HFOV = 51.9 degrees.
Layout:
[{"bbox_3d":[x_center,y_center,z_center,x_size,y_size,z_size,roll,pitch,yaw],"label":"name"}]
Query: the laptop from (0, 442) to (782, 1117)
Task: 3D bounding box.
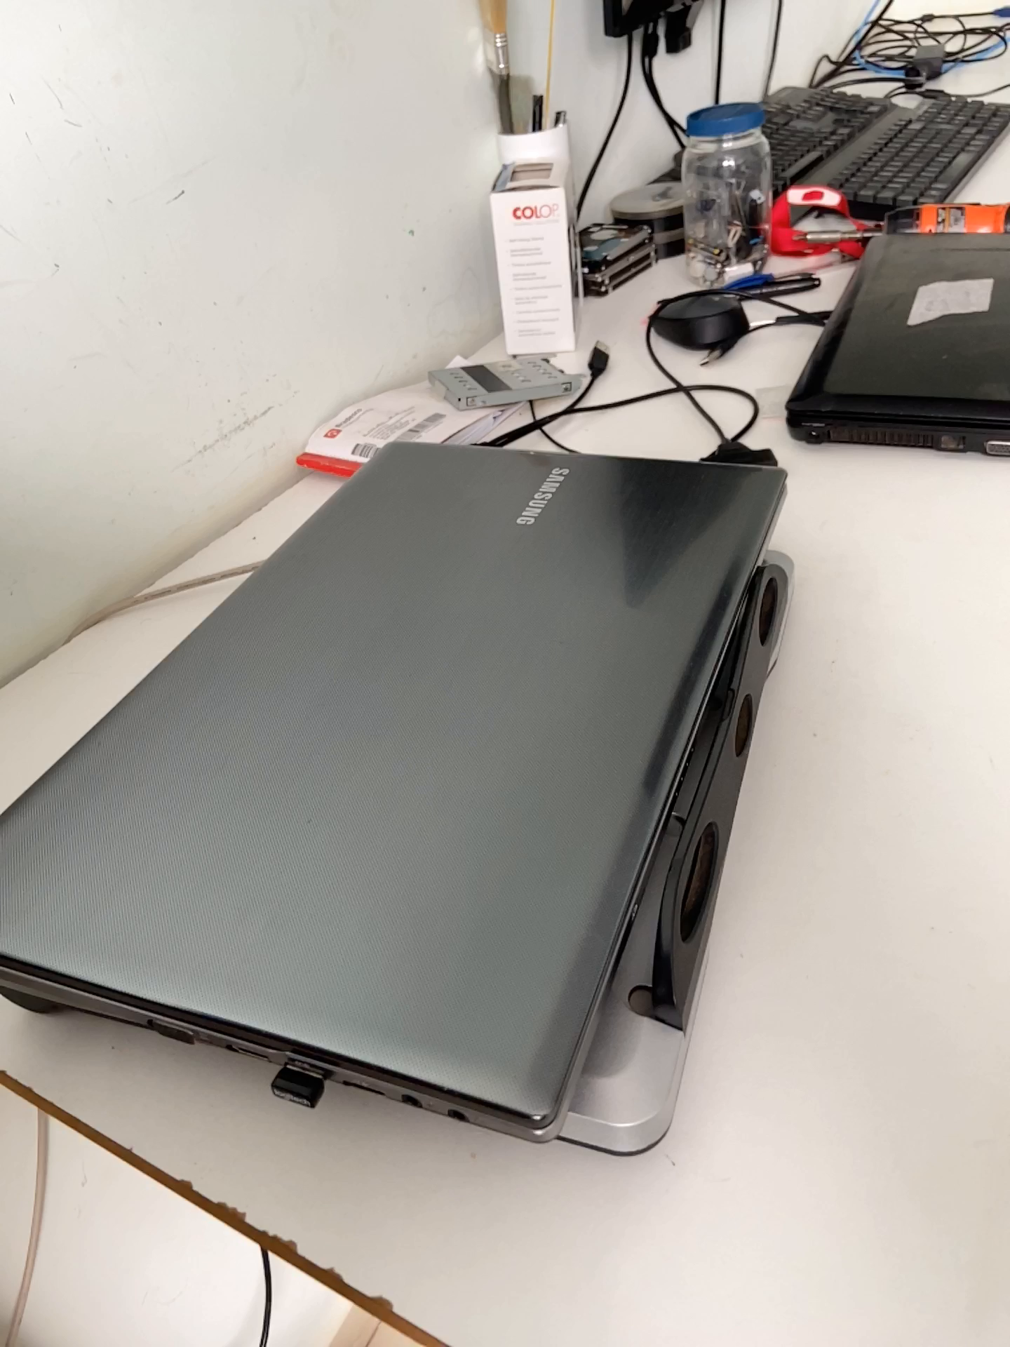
[{"bbox_3d":[-0.031,-0.011,0.452,0.236,0.005,0.375,8,40,21],"label":"laptop"}]
